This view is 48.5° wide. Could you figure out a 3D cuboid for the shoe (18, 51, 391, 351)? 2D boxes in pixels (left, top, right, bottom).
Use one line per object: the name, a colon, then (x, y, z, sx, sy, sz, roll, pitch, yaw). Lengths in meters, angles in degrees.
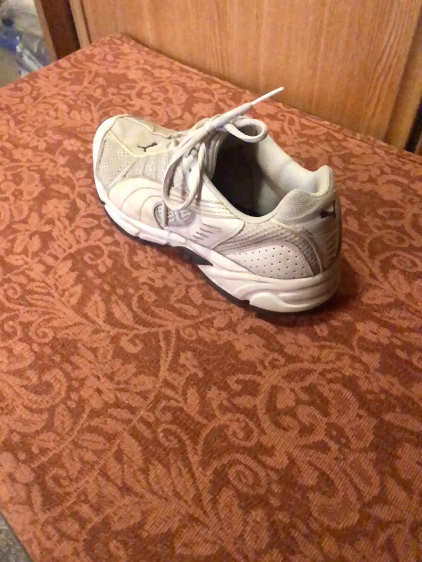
shoe: (-0.021, -0.083, 0.389, 0.291, 0.100, 0.100, 34, 59, 28)
